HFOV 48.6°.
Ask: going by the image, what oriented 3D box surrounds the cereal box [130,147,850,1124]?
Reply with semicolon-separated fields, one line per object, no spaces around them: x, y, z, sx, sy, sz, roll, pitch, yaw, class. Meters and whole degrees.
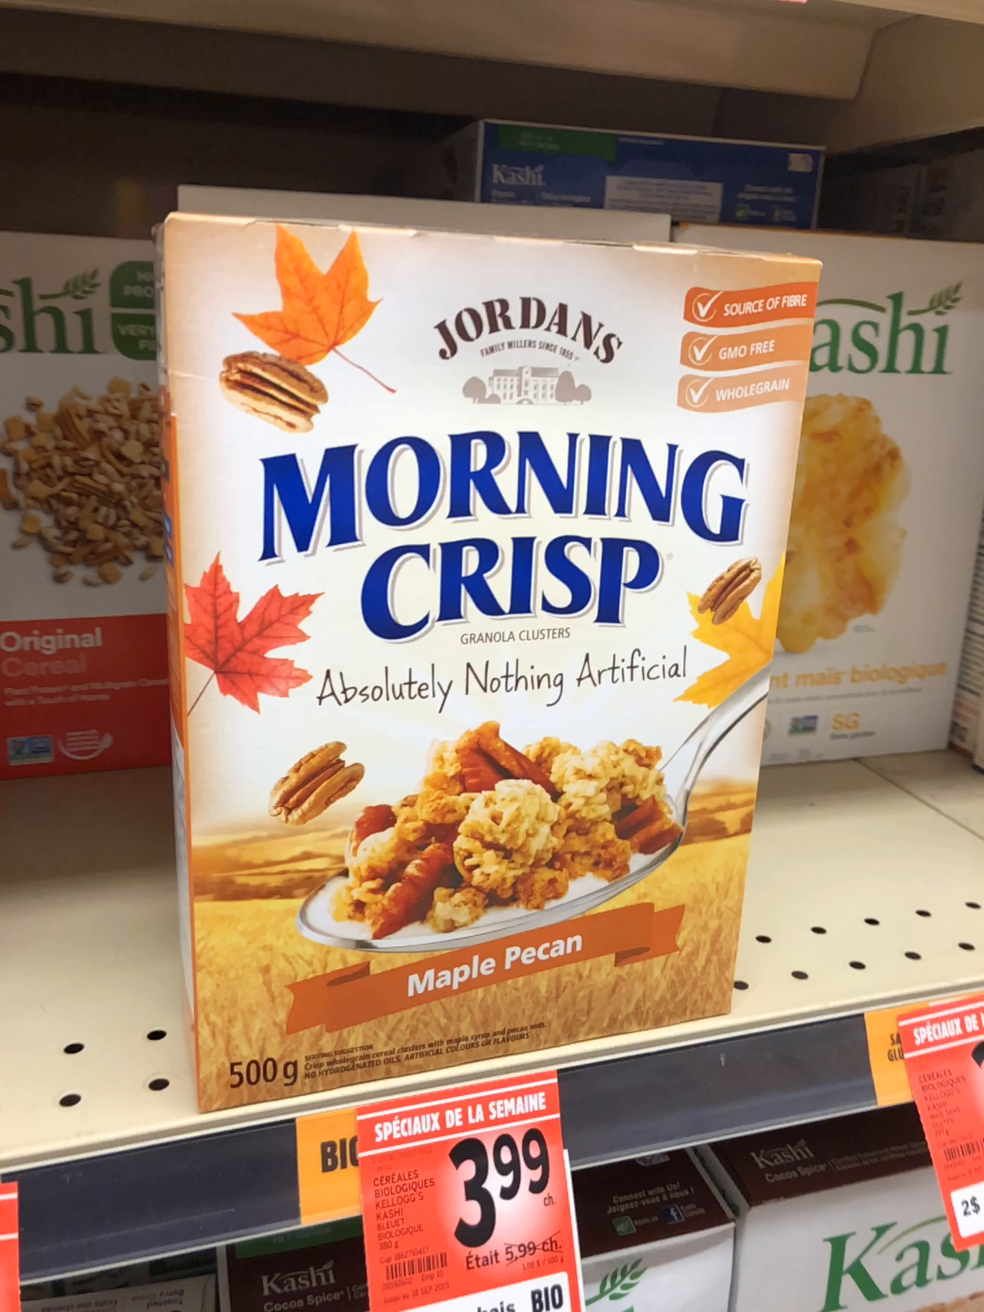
-0.005;-0.001;0.332;0.190;0.259;0.050;-3;18;-20;cereal box
